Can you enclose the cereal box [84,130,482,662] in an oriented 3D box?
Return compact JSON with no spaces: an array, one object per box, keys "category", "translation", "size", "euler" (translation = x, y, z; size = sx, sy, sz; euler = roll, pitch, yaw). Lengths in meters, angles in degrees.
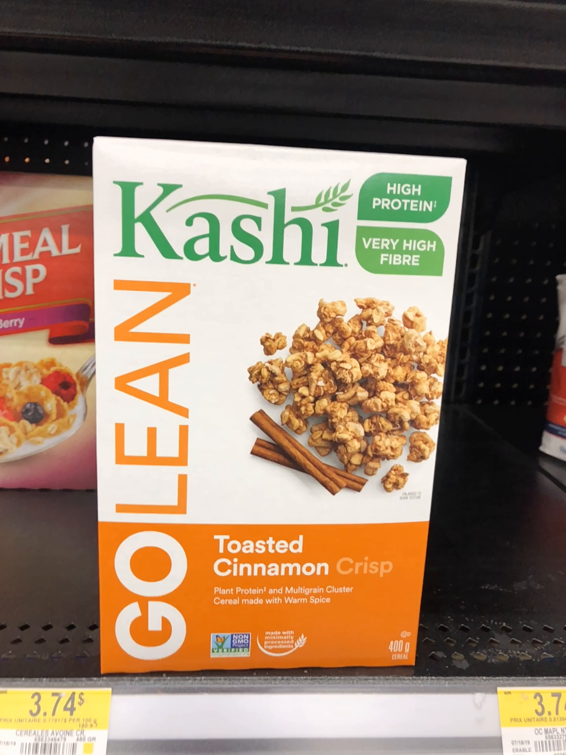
[{"category":"cereal box","translation":[-0.006,0.016,0.318],"size":[0.170,0.249,0.050],"euler":[2,12,-5]}]
